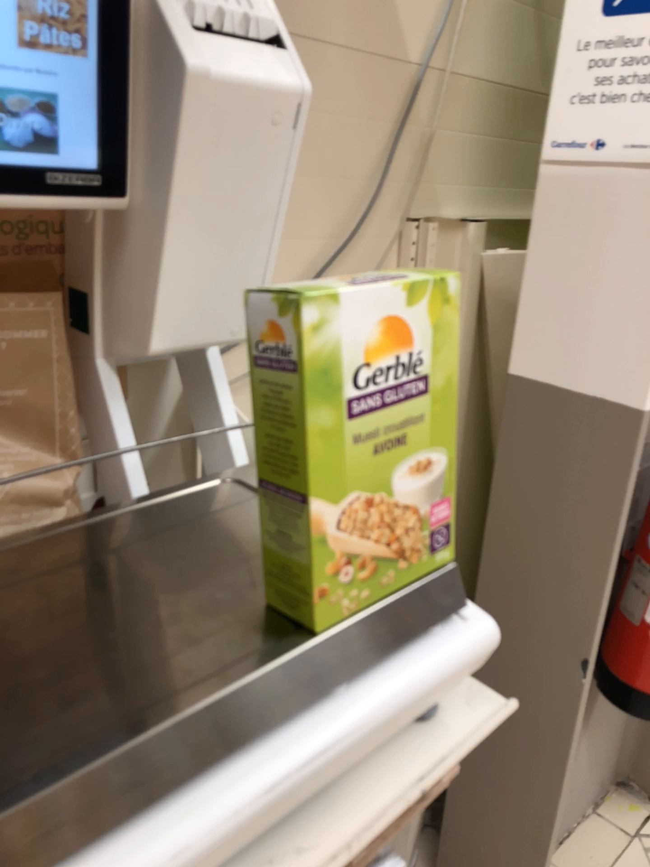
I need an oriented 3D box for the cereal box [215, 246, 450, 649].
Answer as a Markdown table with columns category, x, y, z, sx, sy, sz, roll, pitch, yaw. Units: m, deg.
| category | x | y | z | sx | sy | sz | roll | pitch | yaw |
| --- | --- | --- | --- | --- | --- | --- | --- | --- | --- |
| cereal box | 0.014 | 0.000 | 0.461 | 0.151 | 0.229 | 0.050 | -17 | 23 | -40 |
